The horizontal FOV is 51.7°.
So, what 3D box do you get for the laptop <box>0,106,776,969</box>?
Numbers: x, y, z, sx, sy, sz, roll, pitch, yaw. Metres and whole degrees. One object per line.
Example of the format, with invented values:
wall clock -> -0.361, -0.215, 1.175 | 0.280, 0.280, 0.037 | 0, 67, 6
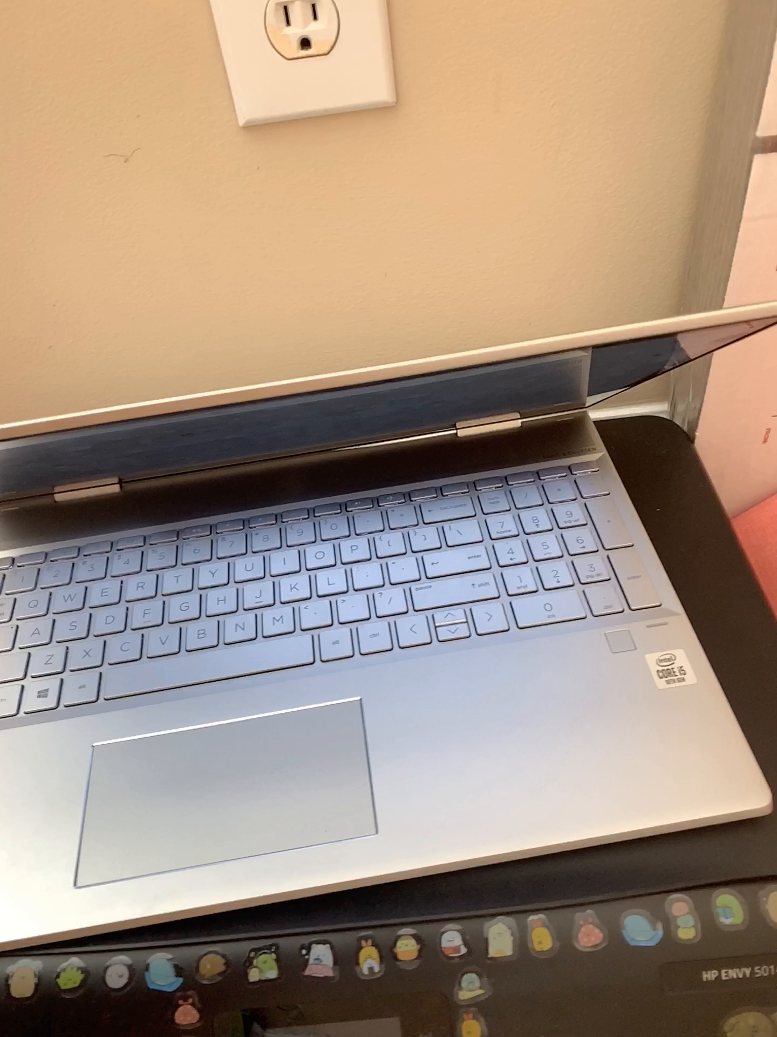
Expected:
laptop -> -0.051, -0.006, 0.319 | 0.350, 0.169, 0.238 | -9, 47, -1
